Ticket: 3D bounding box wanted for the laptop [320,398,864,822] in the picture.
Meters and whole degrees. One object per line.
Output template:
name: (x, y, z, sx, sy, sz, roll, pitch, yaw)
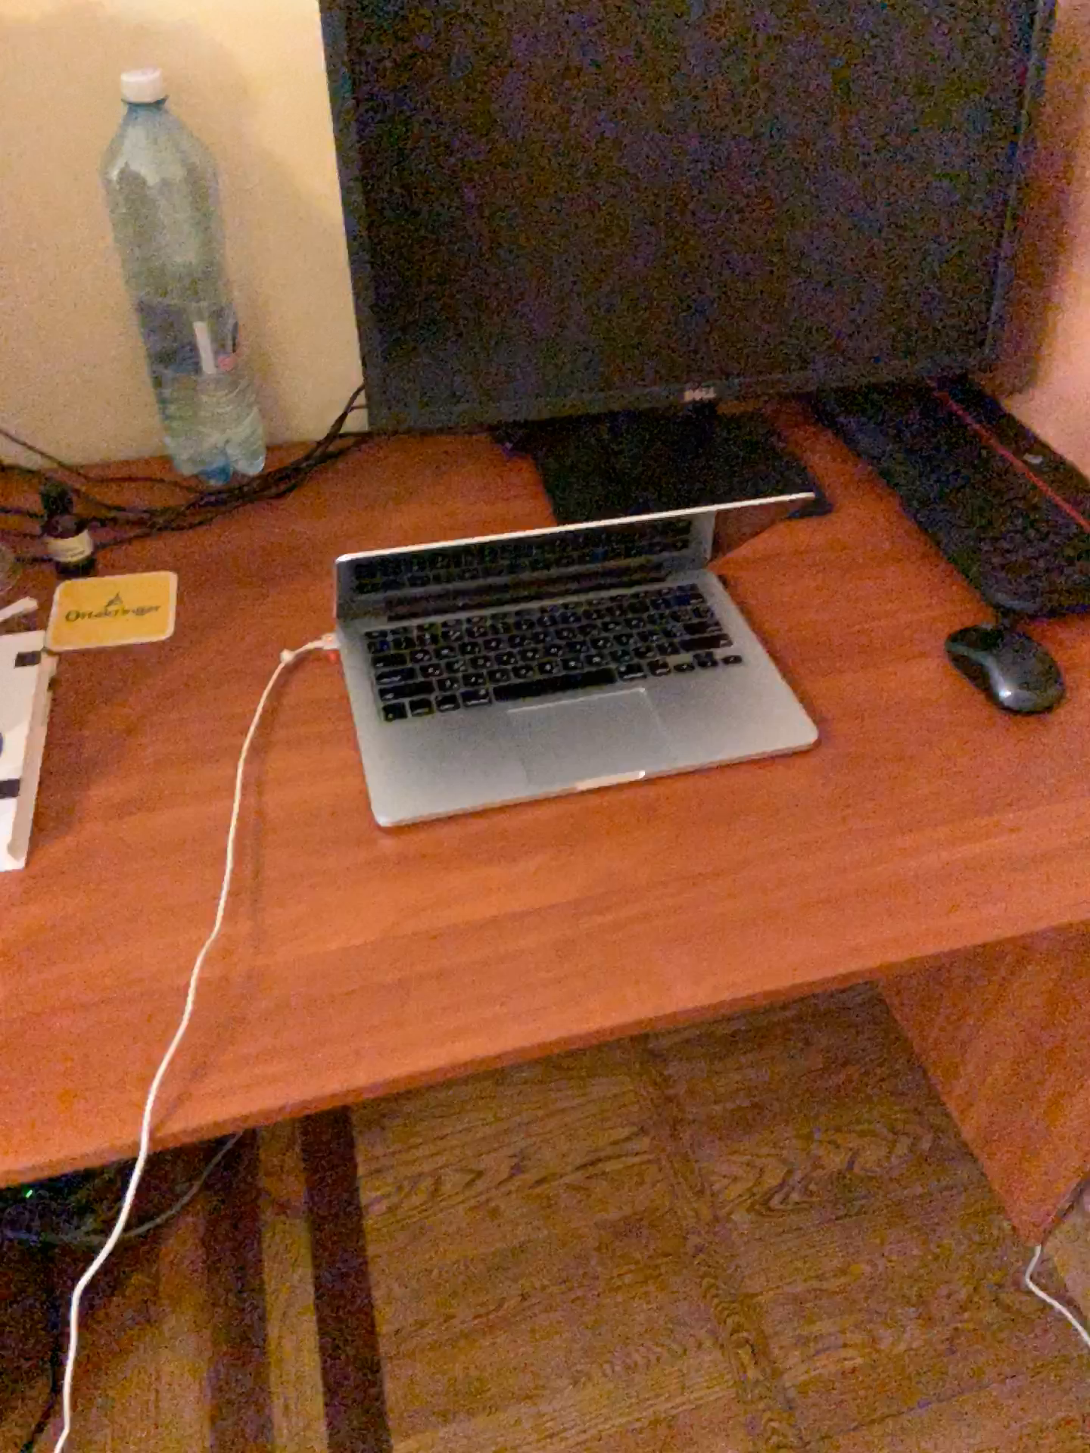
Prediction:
laptop: (0.018, -0.090, 0.746, 0.303, 0.150, 0.208, -10, 44, -13)
